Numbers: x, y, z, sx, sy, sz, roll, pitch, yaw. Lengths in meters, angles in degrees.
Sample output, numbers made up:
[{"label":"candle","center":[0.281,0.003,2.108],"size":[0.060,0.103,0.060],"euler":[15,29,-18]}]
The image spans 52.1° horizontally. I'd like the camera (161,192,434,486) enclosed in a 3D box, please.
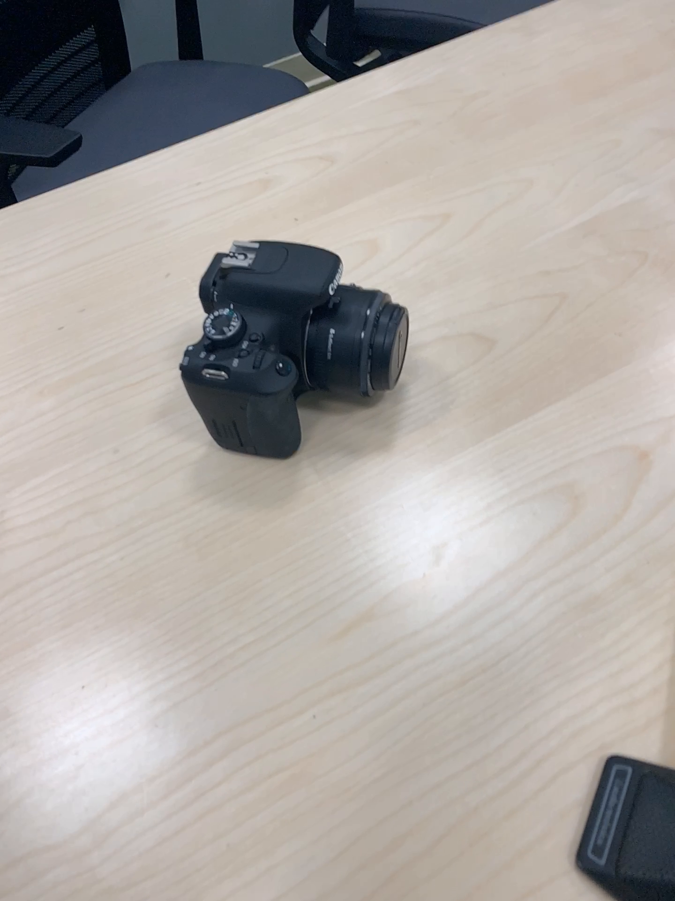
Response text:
[{"label":"camera","center":[-0.015,-0.074,0.444],"size":[0.123,0.100,0.140],"euler":[11,57,13]}]
